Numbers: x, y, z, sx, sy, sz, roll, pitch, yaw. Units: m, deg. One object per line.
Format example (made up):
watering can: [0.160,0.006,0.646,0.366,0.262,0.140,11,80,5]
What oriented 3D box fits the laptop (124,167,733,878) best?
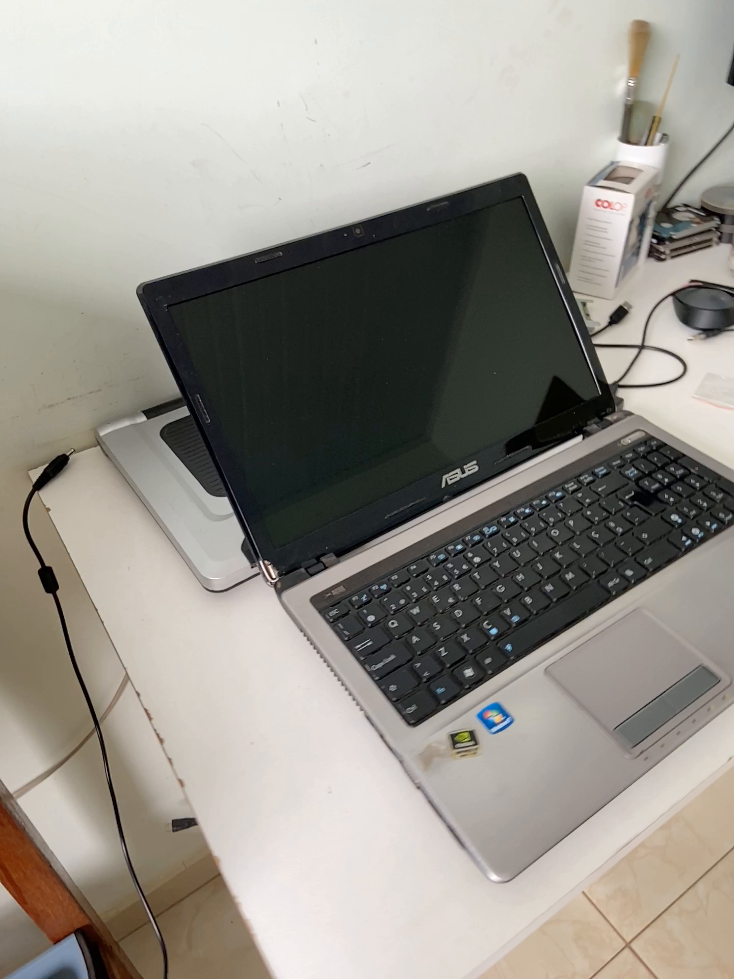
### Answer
laptop: [0.102,-0.048,0.544,0.377,0.179,0.416,-25,45,-23]
